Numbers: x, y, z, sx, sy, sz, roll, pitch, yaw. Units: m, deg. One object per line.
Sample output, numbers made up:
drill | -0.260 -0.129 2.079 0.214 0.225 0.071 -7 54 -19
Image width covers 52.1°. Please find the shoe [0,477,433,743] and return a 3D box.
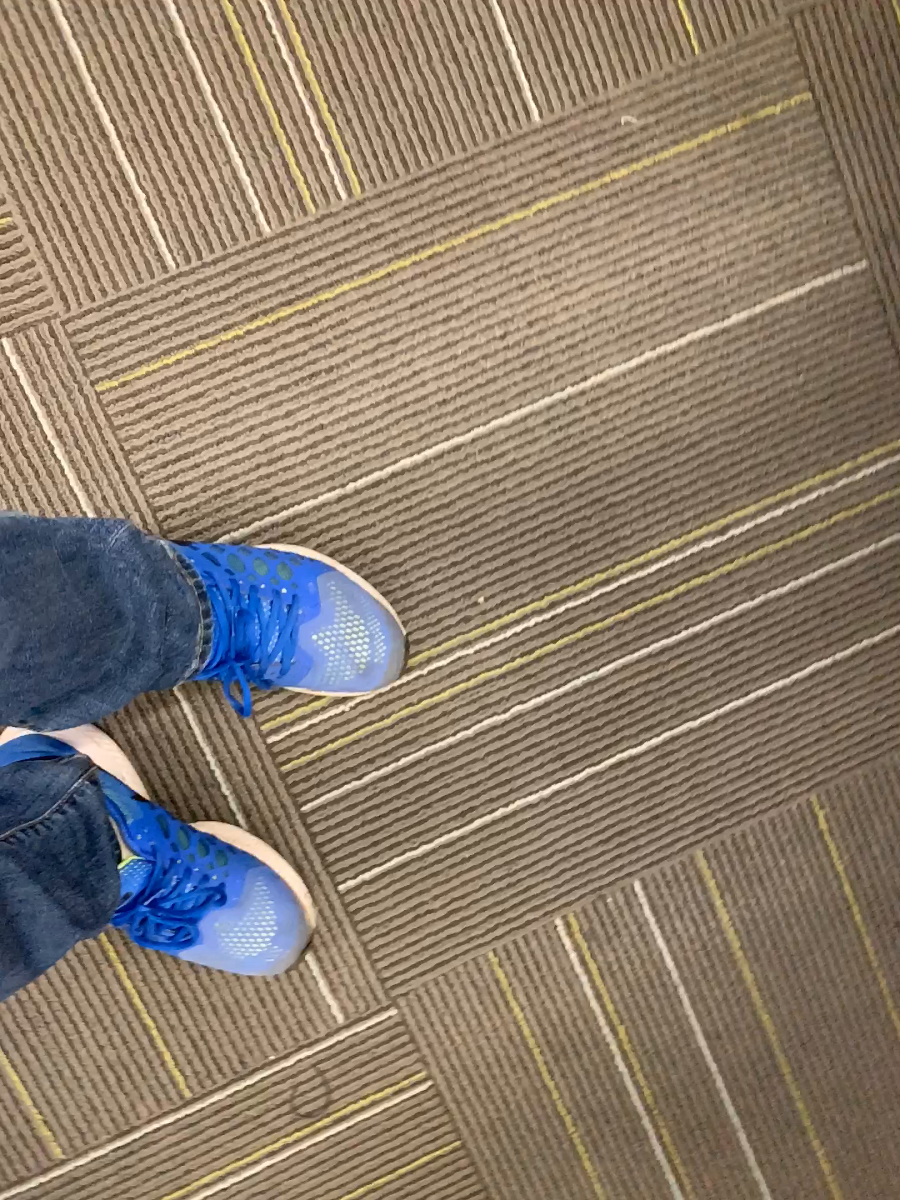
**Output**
shoe | -0.177 0.007 0.725 0.298 0.077 0.125 16 94 -9

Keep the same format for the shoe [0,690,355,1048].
shoe | -0.238 0.214 0.737 0.299 0.077 0.128 34 91 -10
